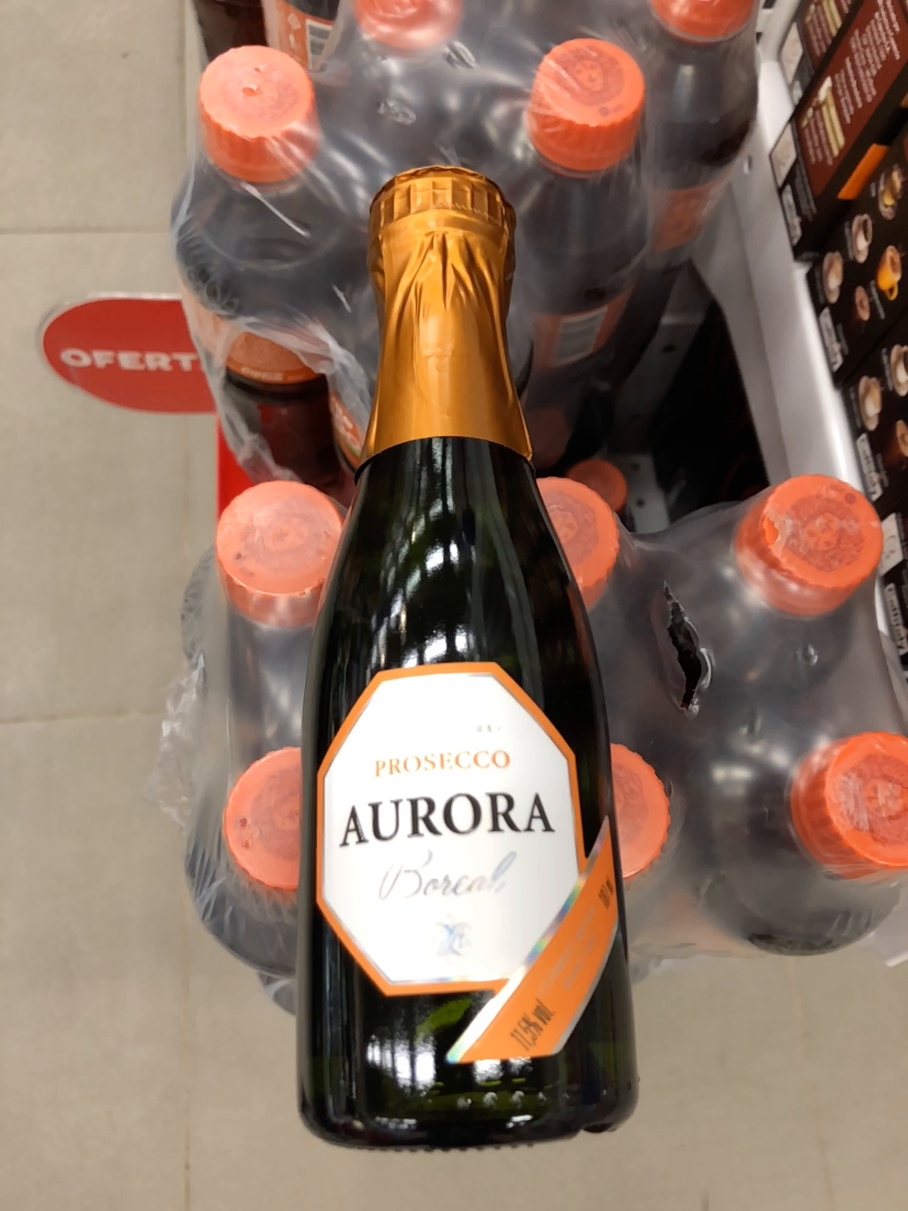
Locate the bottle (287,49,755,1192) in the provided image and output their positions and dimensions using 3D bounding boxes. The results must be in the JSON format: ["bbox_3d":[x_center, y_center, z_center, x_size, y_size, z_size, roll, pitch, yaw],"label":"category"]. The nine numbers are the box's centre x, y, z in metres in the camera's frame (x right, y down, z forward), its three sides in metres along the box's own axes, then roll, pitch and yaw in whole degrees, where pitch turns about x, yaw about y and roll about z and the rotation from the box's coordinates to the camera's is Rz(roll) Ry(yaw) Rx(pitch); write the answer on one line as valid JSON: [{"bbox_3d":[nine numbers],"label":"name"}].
[{"bbox_3d":[0.007,-0.005,0.180,0.060,0.050,0.180,1,73,-5],"label":"bottle"}]
